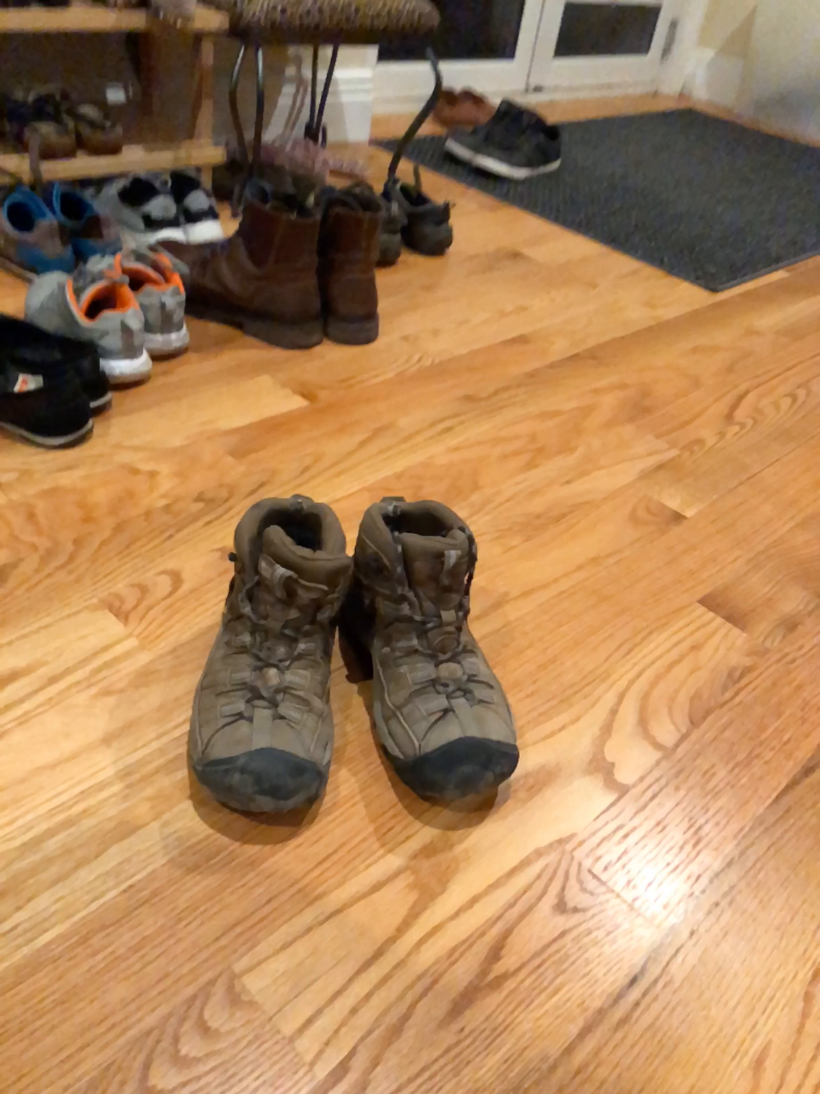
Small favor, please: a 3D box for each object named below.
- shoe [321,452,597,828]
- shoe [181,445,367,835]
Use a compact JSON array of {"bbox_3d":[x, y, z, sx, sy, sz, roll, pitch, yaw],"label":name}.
[{"bbox_3d":[0.020,0.057,0.695,0.108,0.139,0.260,-4,39,-19],"label":"shoe"},{"bbox_3d":[-0.095,0.057,0.666,0.107,0.139,0.261,5,37,-8],"label":"shoe"}]
